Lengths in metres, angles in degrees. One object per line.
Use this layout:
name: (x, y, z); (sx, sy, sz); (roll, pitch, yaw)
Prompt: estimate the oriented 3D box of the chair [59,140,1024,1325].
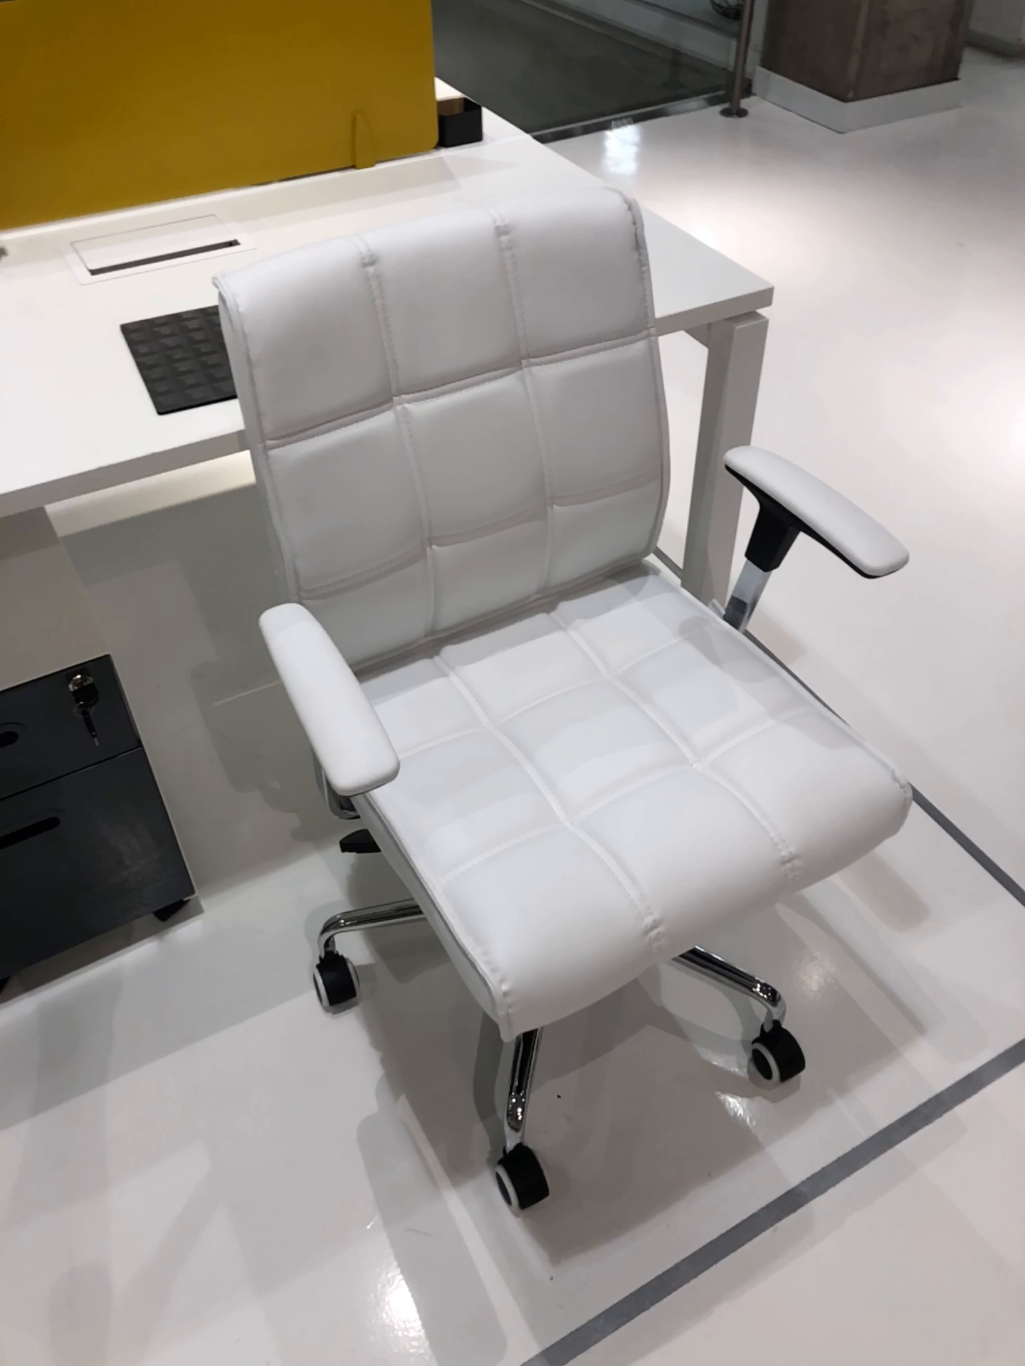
chair: (0.059, 0.044, 1.187); (0.651, 0.884, 0.633); (-23, 48, -22)
